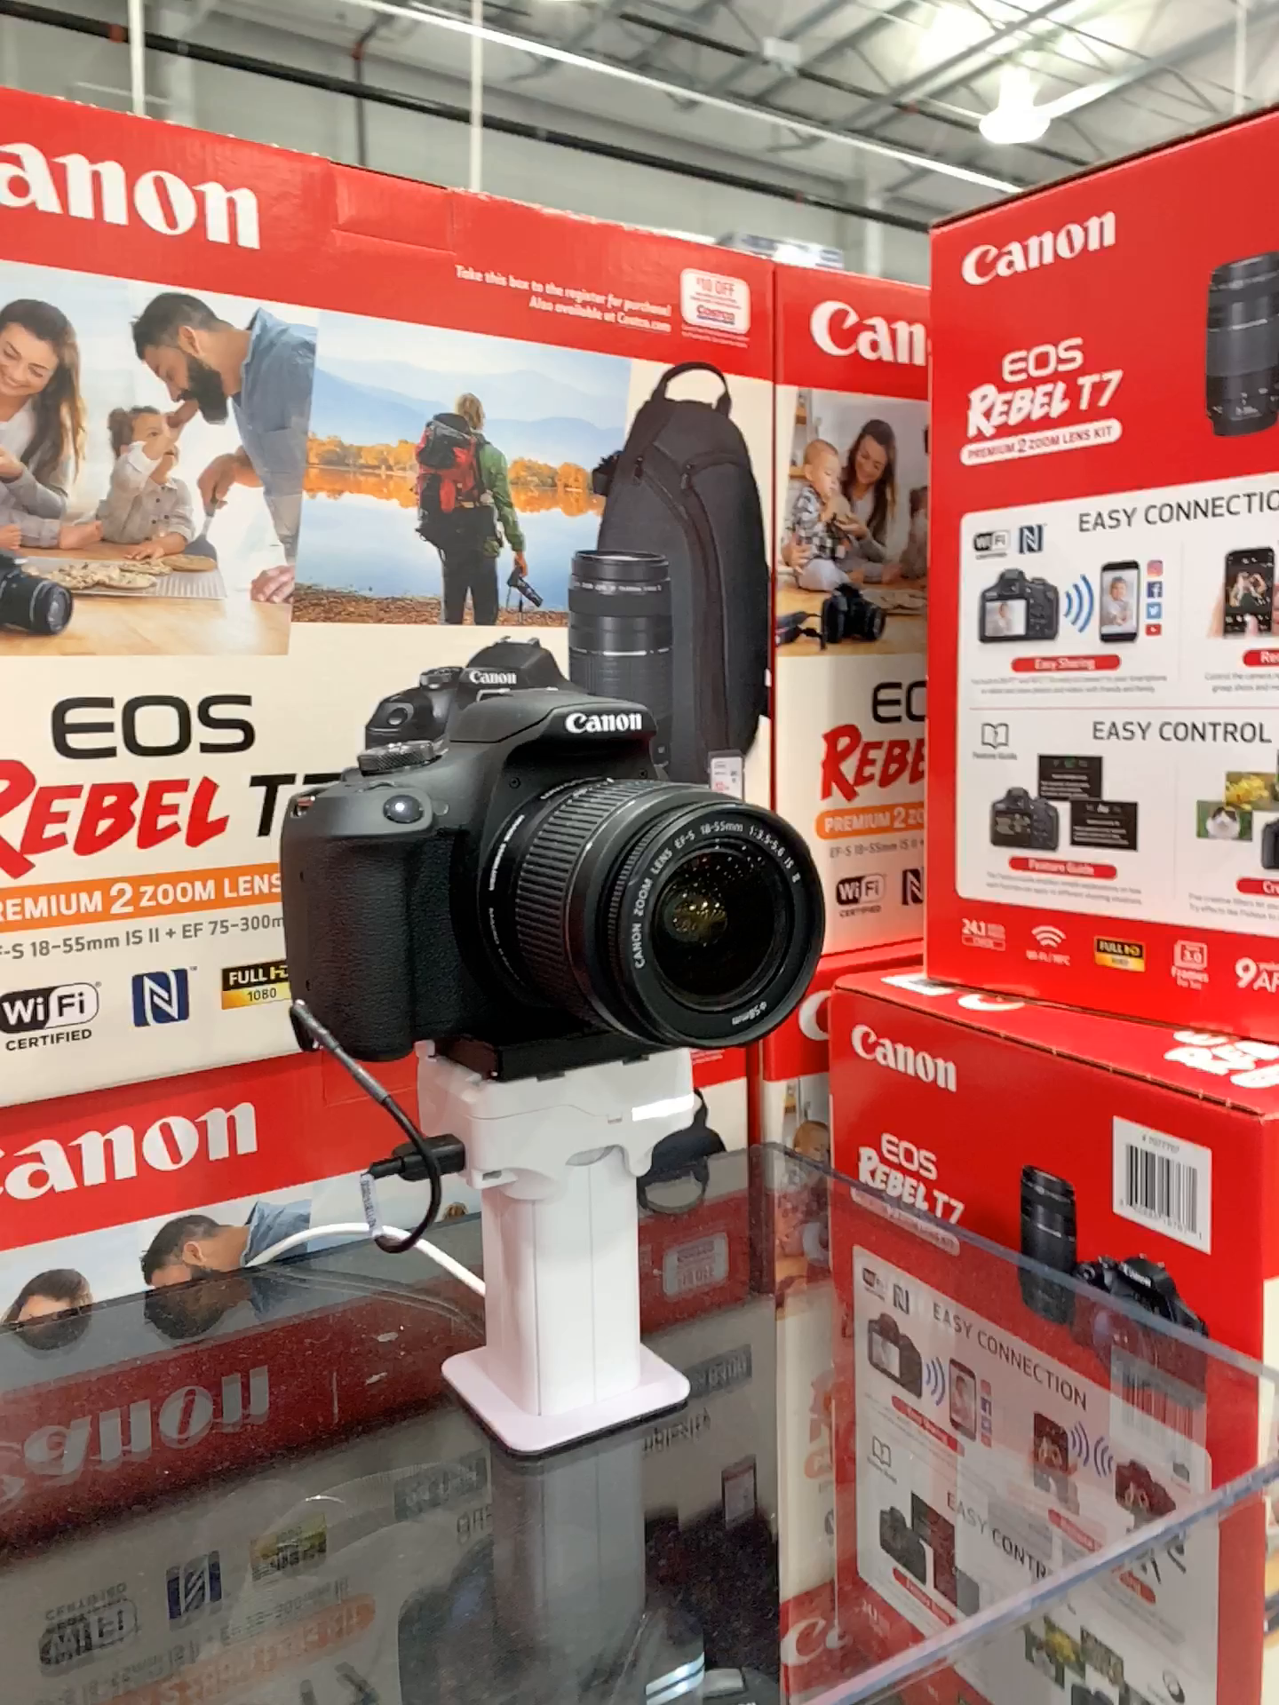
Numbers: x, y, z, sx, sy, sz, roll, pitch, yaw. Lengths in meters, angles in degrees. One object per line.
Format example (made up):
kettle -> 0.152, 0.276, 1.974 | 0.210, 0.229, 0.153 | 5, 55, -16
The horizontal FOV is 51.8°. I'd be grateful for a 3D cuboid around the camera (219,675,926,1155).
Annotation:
camera -> -0.027, 0.001, 0.376 | 0.140, 0.100, 0.160 | -5, 8, -30
